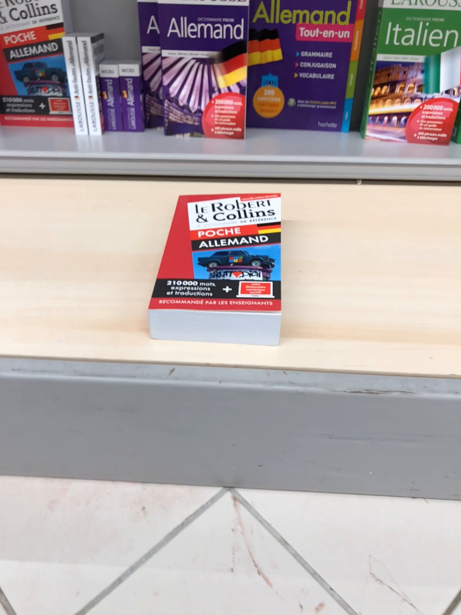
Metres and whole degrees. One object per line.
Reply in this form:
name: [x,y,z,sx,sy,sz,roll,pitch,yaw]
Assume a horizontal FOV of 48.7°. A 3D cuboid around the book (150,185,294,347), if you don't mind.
book: [0.000,-0.045,0.466,0.110,0.050,0.171,1,44,4]
